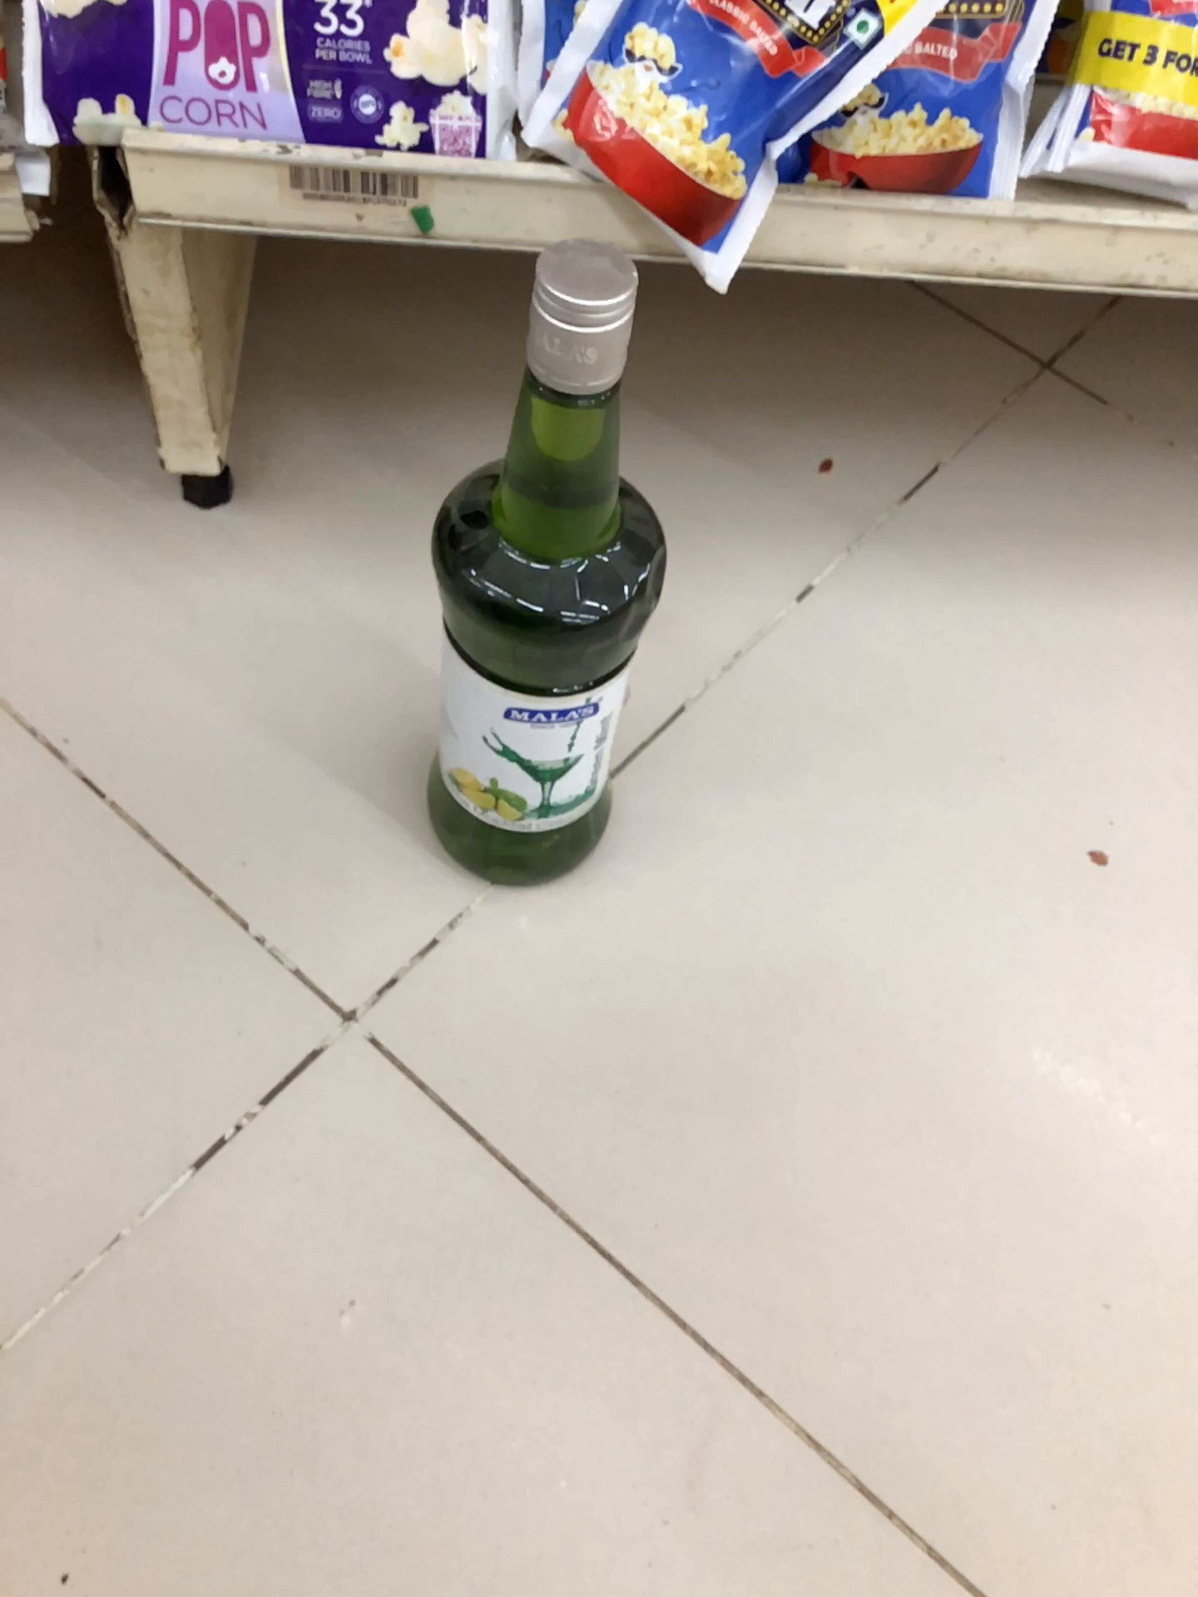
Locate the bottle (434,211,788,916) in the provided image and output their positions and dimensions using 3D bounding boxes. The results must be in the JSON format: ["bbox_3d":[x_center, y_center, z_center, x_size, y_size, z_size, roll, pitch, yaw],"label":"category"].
[{"bbox_3d":[-0.013,-0.060,0.484,0.090,0.279,0.090,3,59,-5],"label":"bottle"}]
